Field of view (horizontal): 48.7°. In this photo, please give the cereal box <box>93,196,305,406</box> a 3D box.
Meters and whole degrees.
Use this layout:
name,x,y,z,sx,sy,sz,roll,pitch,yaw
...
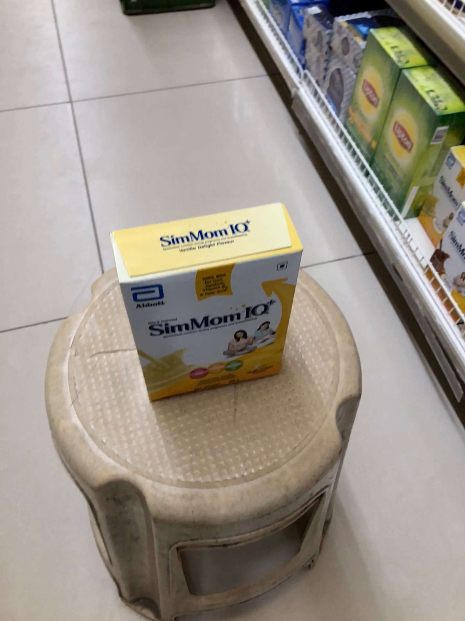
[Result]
name,x,y,z,sx,sy,sz,roll,pitch,yaw
cereal box,-0.026,0.004,0.440,0.140,0.199,0.050,-11,57,-8
